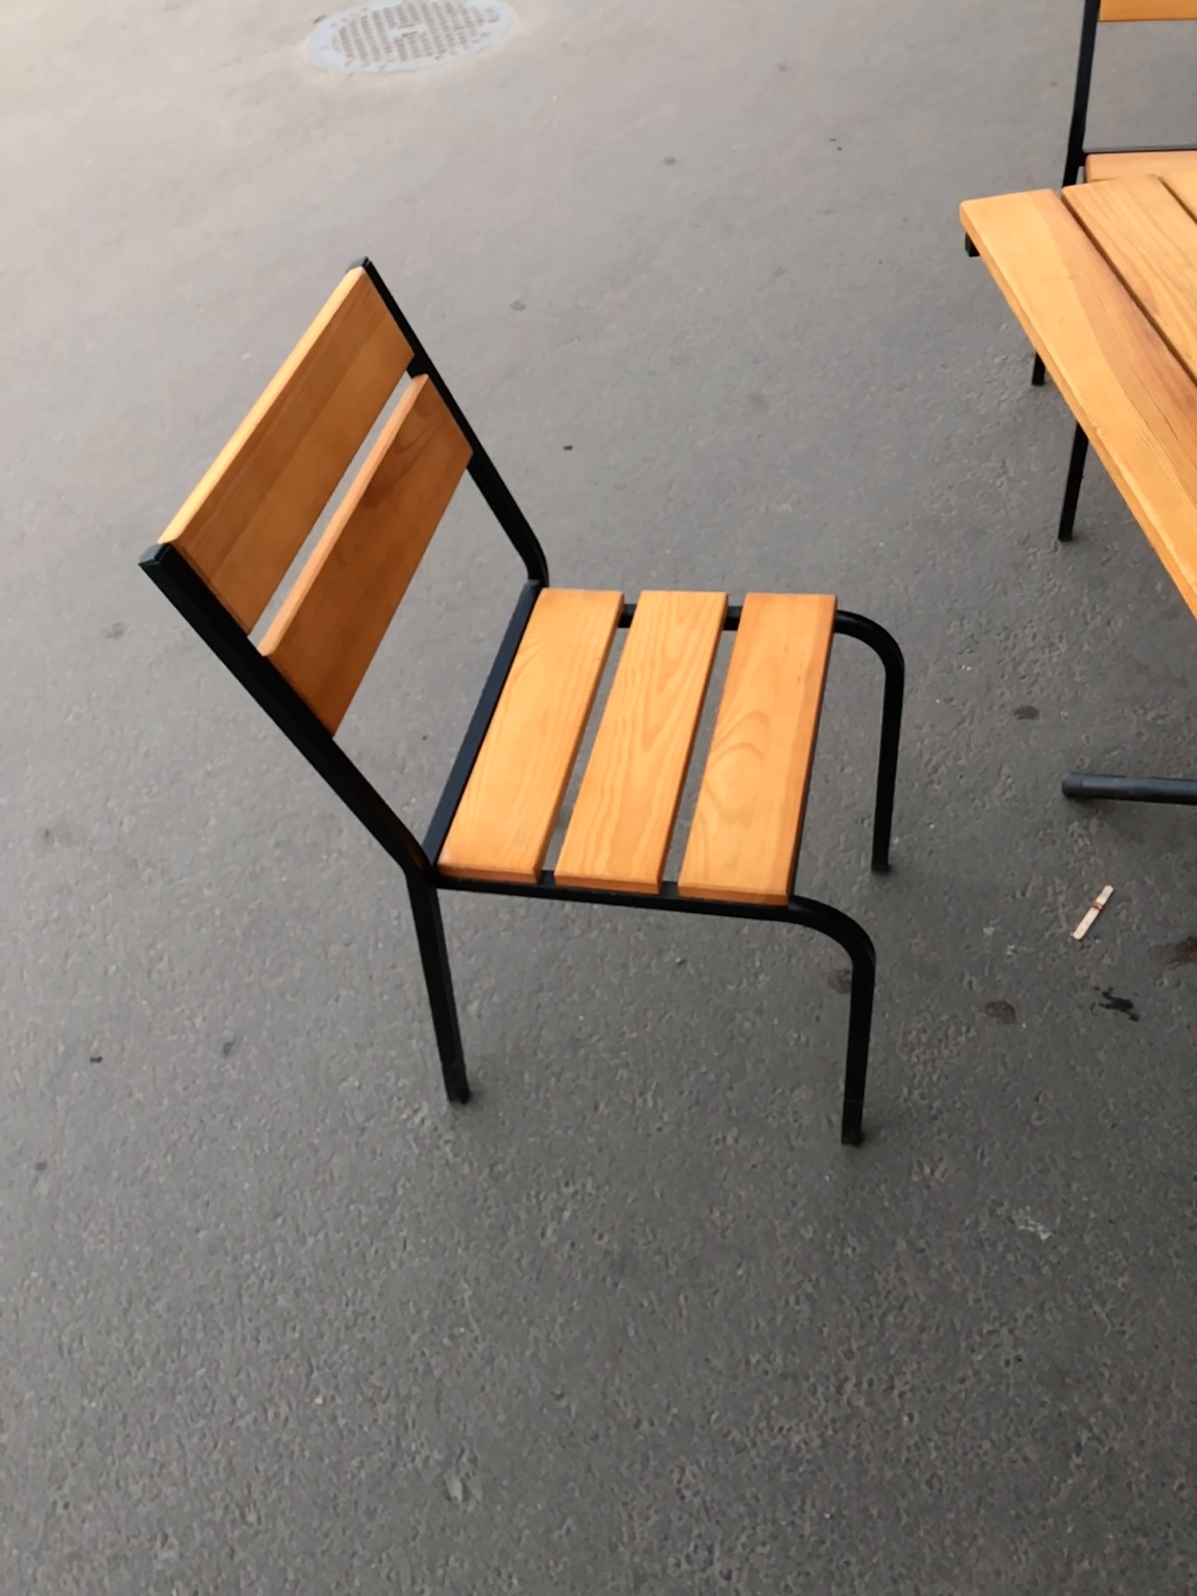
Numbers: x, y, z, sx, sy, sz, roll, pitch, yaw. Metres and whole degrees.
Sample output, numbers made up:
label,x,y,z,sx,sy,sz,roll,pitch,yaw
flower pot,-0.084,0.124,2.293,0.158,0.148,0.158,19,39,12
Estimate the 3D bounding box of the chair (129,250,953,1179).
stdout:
label,x,y,z,sx,sy,sz,roll,pitch,yaw
chair,0.027,-0.066,1.343,0.560,0.767,0.501,6,49,14
